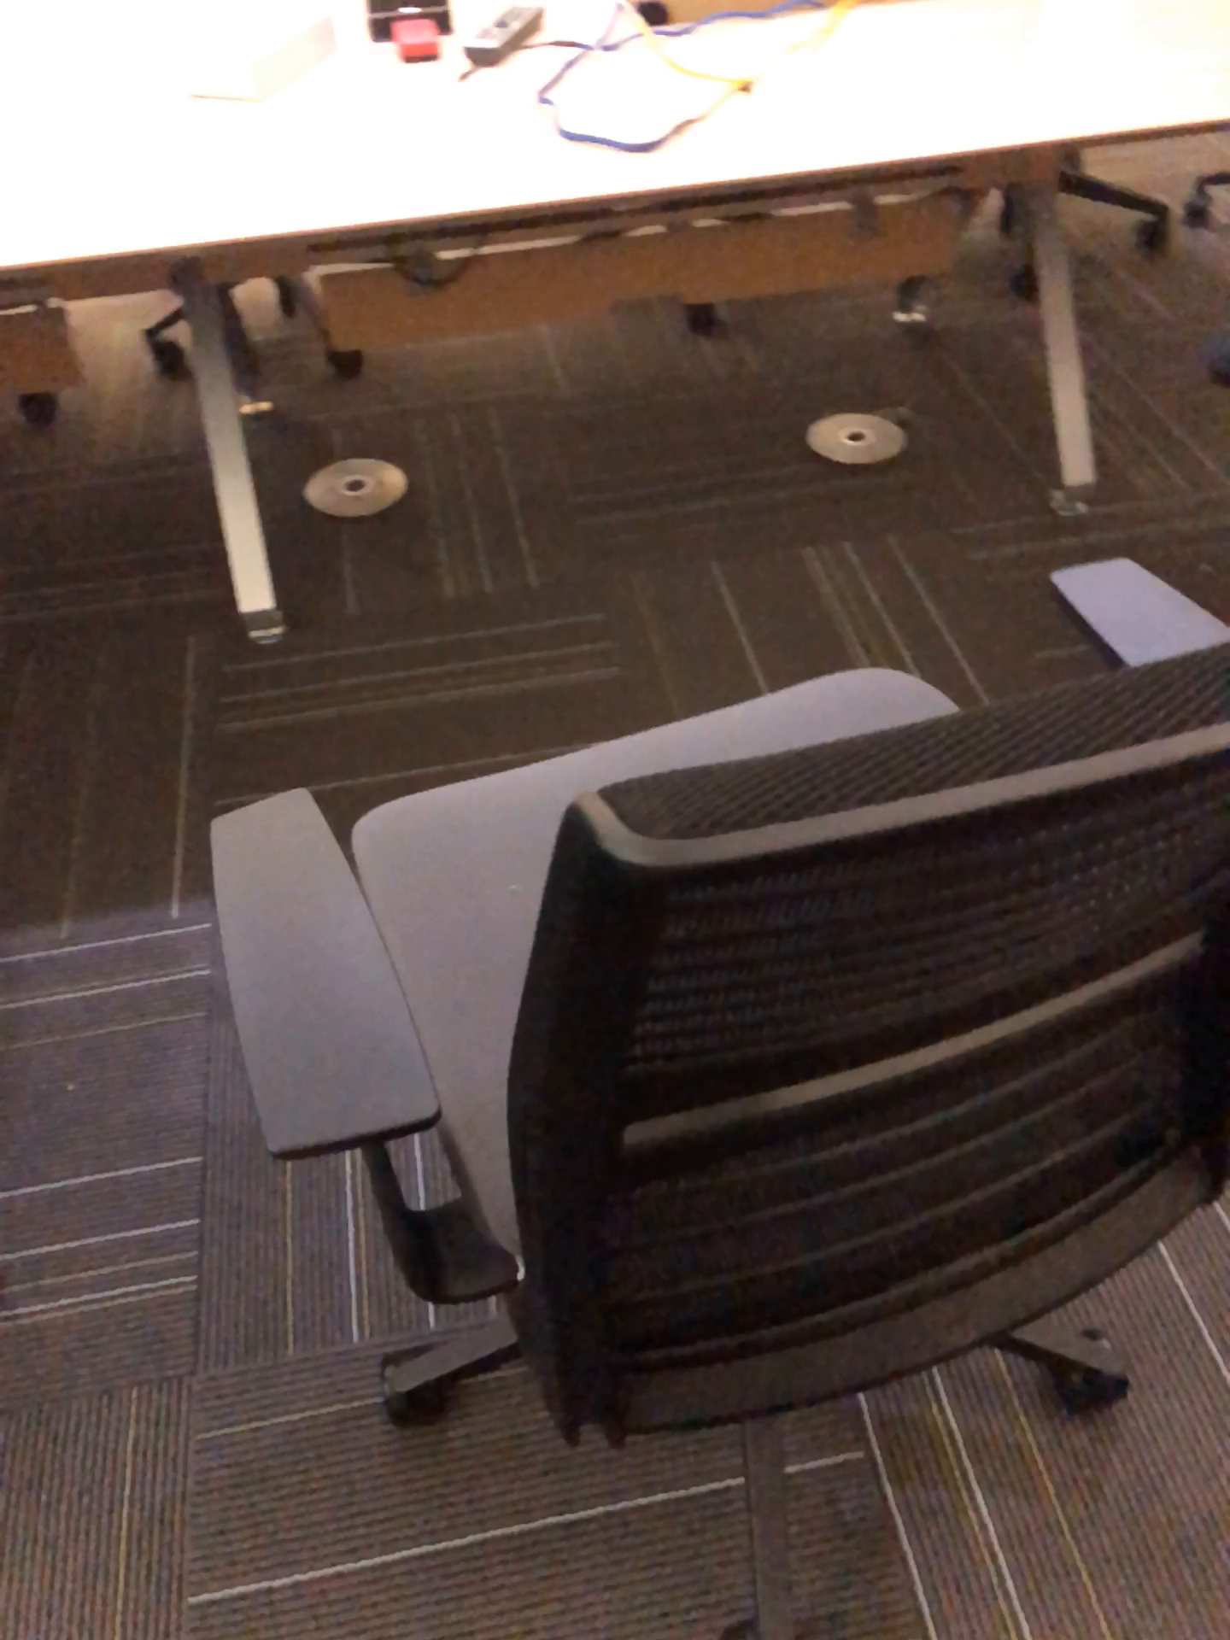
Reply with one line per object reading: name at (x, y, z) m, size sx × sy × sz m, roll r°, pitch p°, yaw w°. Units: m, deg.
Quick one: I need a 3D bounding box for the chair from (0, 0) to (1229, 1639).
chair at (0.098, 0.068, 0.877) m, size 0.720 × 0.856 × 0.663 m, roll -19°, pitch 46°, yaw -15°
